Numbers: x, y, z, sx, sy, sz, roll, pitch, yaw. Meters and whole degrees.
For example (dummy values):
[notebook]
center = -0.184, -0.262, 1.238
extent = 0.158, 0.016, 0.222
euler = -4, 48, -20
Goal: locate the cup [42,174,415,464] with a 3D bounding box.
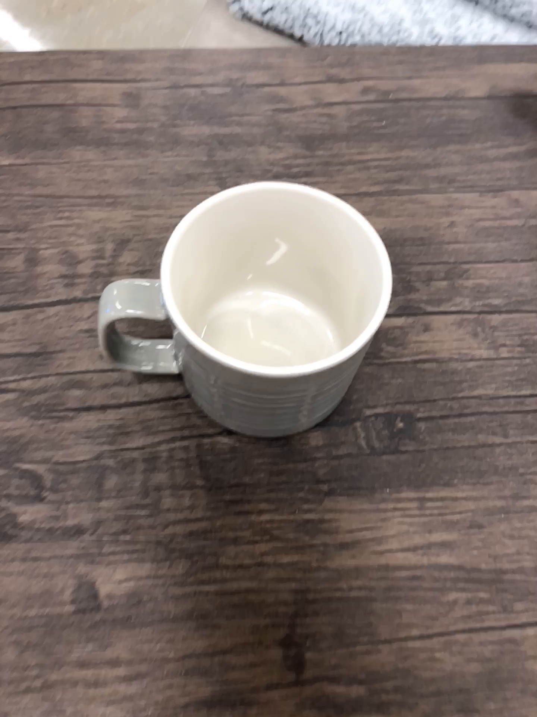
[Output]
[cup]
center = -0.015, -0.014, 0.287
extent = 0.140, 0.090, 0.100
euler = 3, 63, -2
